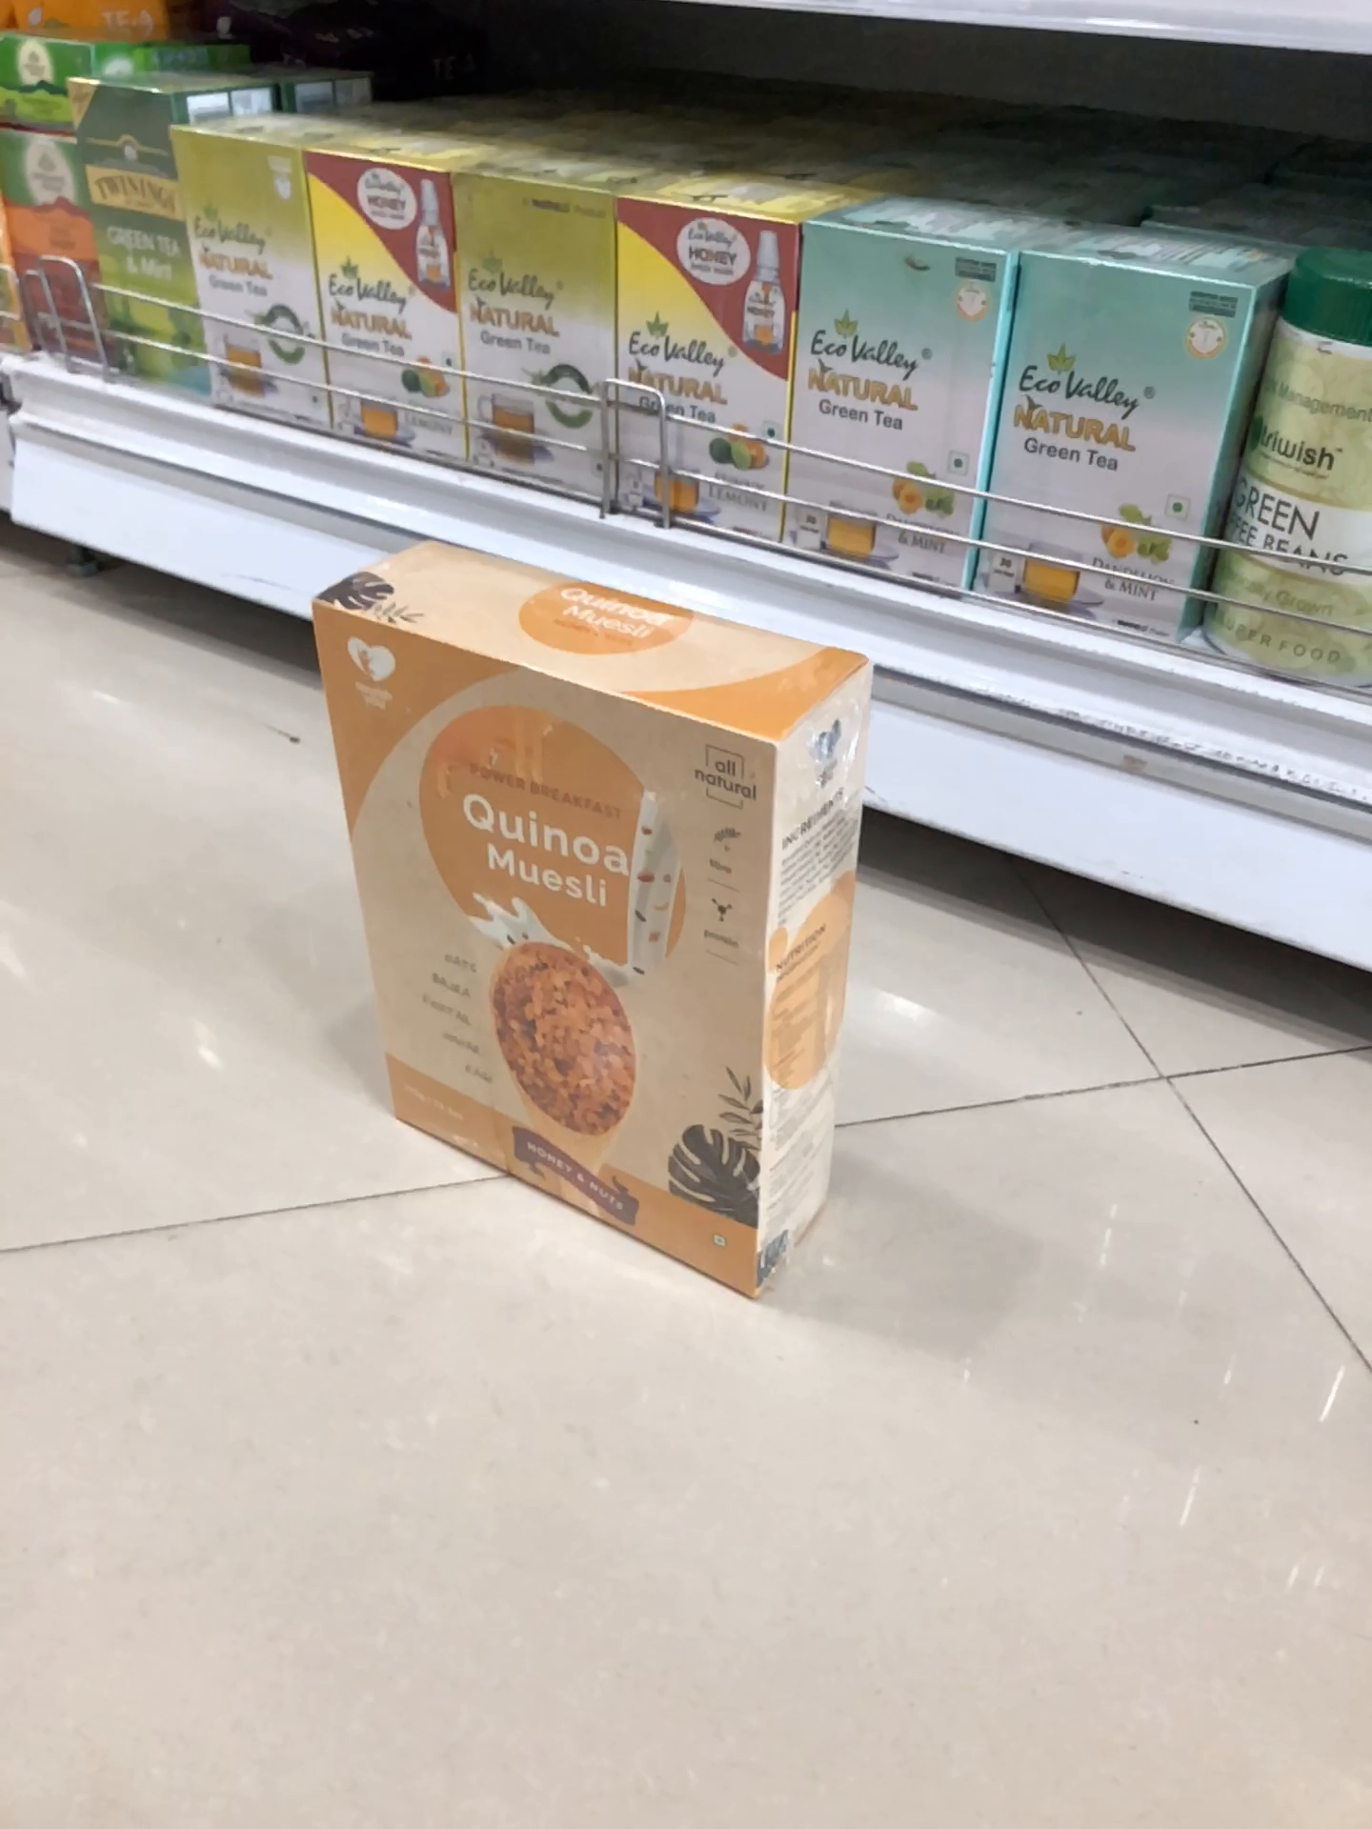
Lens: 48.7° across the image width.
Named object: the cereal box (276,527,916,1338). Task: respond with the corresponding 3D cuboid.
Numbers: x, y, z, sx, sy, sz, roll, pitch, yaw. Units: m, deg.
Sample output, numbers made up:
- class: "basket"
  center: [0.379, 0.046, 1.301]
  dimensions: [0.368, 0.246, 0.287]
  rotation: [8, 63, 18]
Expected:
- class: "cereal box"
  center: [-0.028, 0.005, 0.464]
  dimensions: [0.170, 0.199, 0.060]
  rotation: [22, 41, 28]
